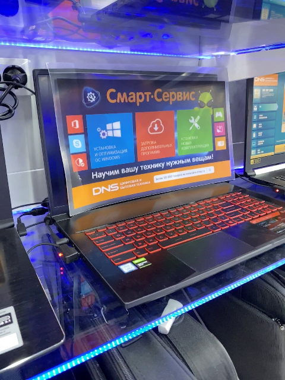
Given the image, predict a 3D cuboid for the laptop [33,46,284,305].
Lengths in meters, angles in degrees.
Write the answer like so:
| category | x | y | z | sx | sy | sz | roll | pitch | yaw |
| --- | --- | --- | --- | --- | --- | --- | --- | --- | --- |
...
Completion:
| category | x | y | z | sx | sy | sz | roll | pitch | yaw |
| --- | --- | --- | --- | --- | --- | --- | --- | --- | --- |
| laptop | 0.077 | -0.069 | 0.476 | 0.404 | 0.237 | 0.287 | -11 | 21 | -31 |
